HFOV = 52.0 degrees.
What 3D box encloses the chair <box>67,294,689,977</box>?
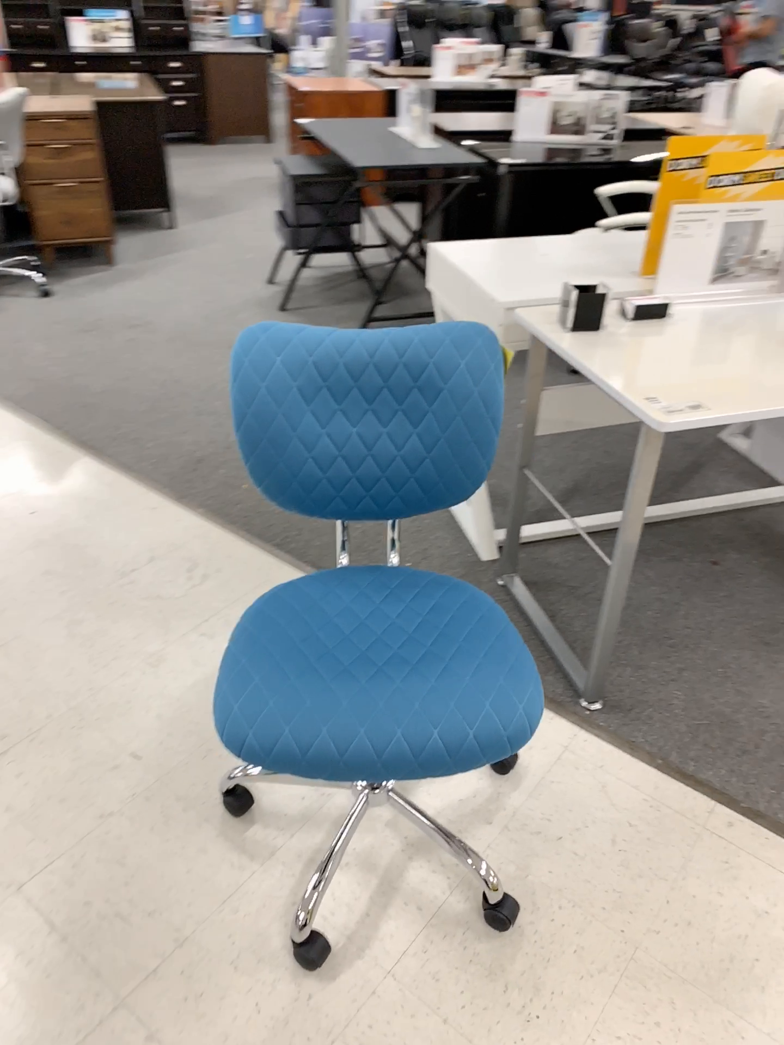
[{"bbox_3d":[-0.022,0.176,1.294,0.610,0.875,0.634,1,34,-1],"label":"chair"}]
